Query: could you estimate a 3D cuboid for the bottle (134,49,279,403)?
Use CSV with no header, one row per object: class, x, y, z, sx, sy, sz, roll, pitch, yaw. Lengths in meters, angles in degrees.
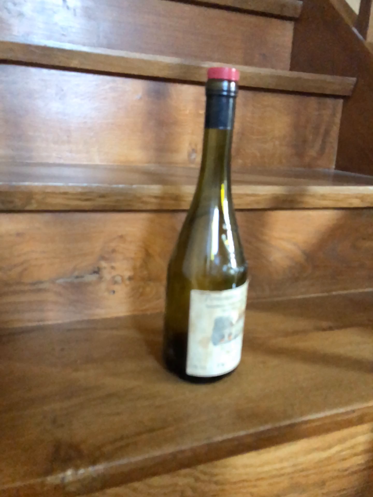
bottle,0.014,-0.019,0.405,0.090,0.309,0.090,3,15,-1
